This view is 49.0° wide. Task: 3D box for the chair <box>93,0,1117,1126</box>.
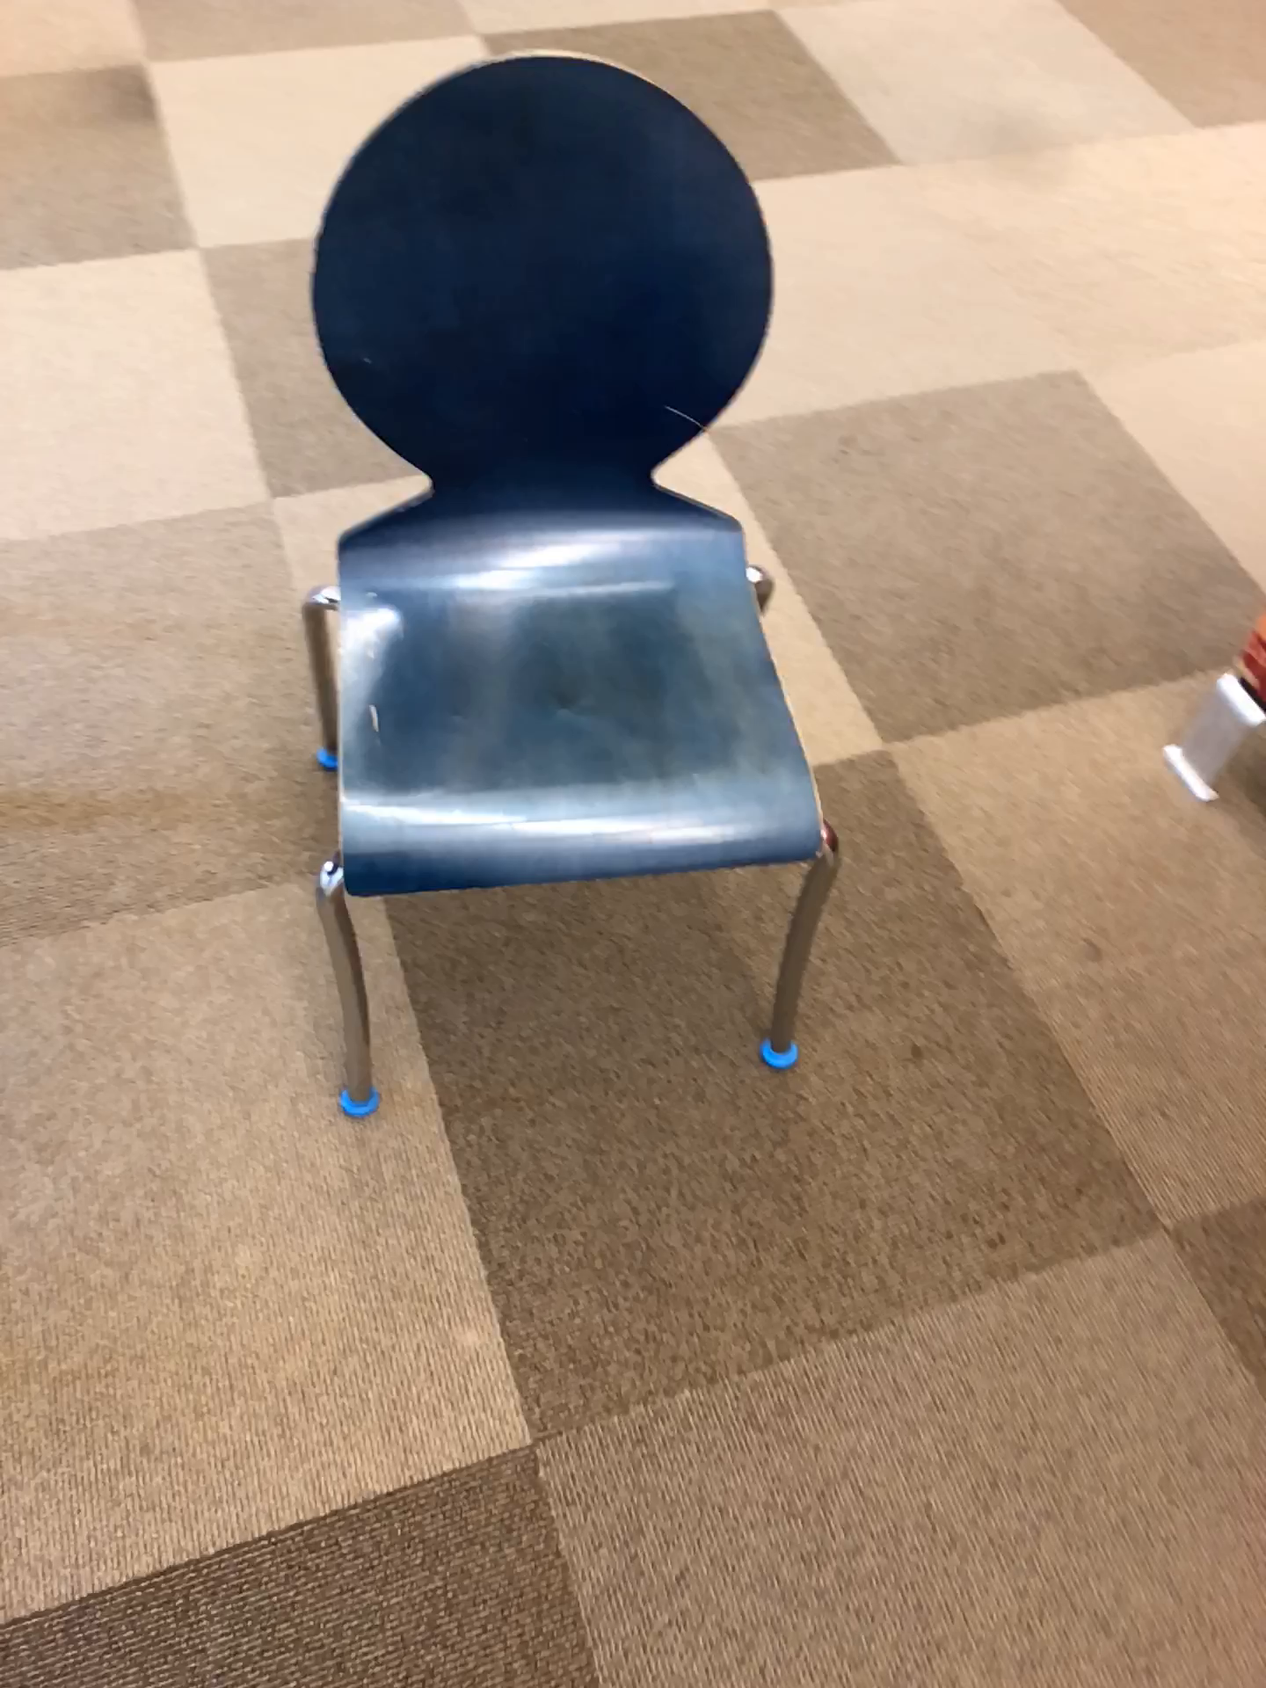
[{"bbox_3d":[-0.058,-0.178,1.085,0.497,0.699,0.475,-5,54,-8],"label":"chair"}]
